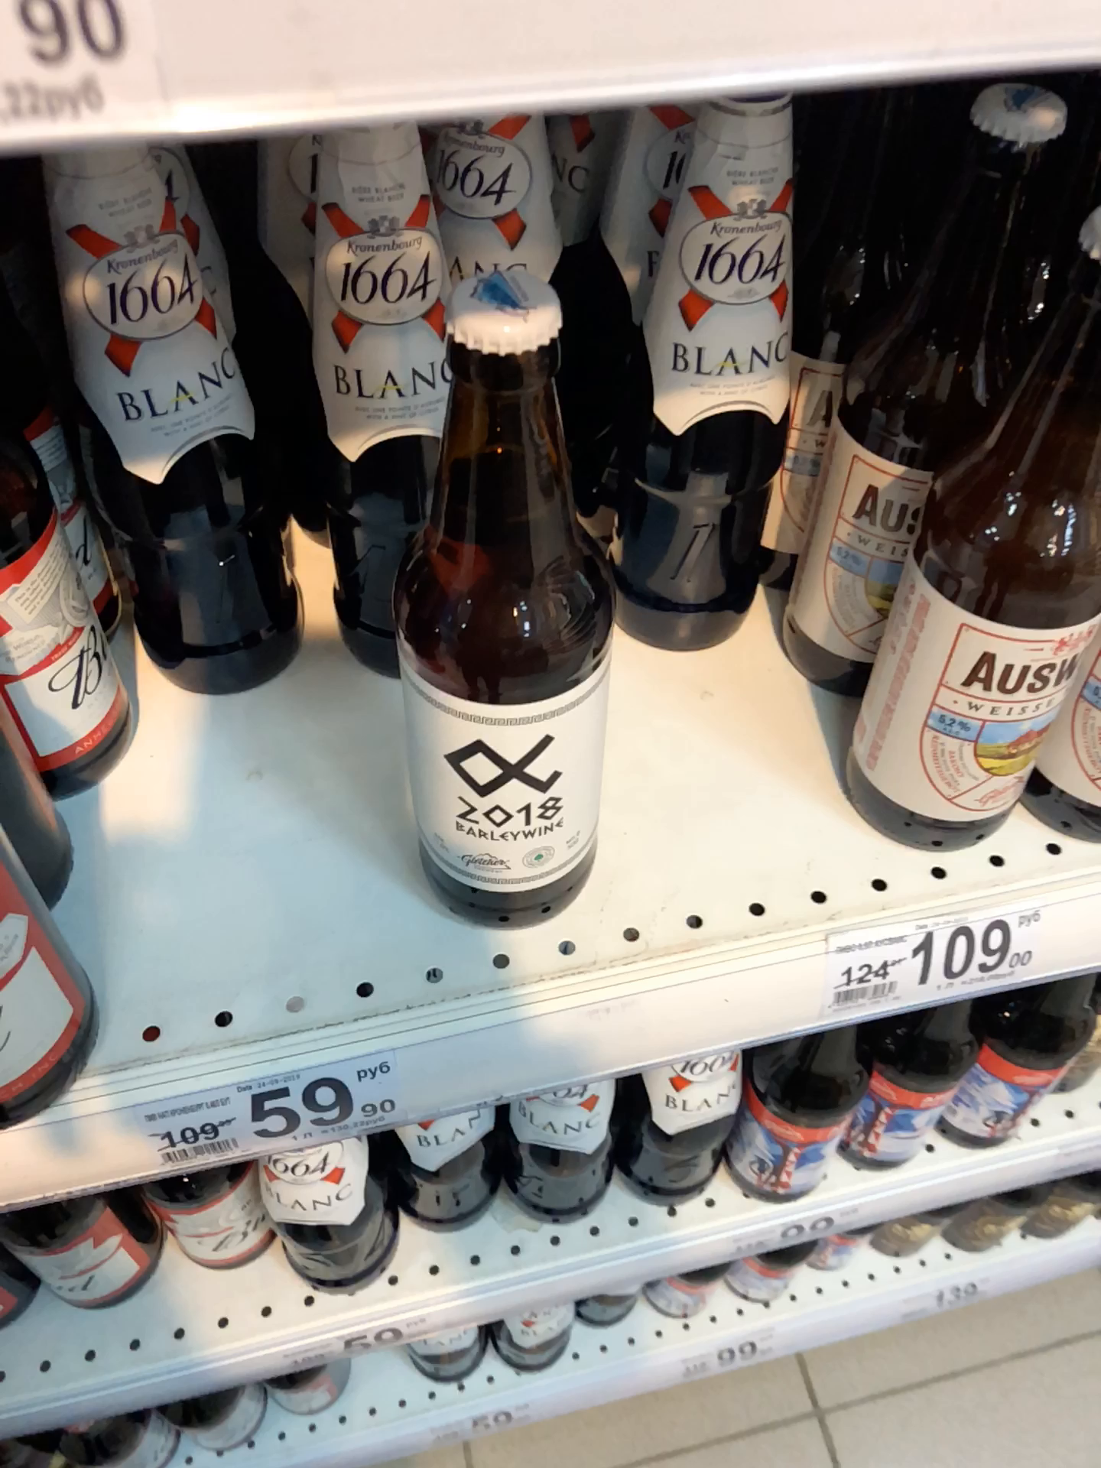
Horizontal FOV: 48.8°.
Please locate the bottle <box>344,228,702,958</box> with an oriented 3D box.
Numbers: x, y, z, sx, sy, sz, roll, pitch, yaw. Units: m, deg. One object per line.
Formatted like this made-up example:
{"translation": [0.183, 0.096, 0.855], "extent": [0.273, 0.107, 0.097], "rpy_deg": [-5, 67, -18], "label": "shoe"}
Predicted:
{"translation": [-0.011, -0.023, 0.390], "extent": [0.080, 0.252, 0.070], "rpy_deg": [-4, 52, -4], "label": "bottle"}
